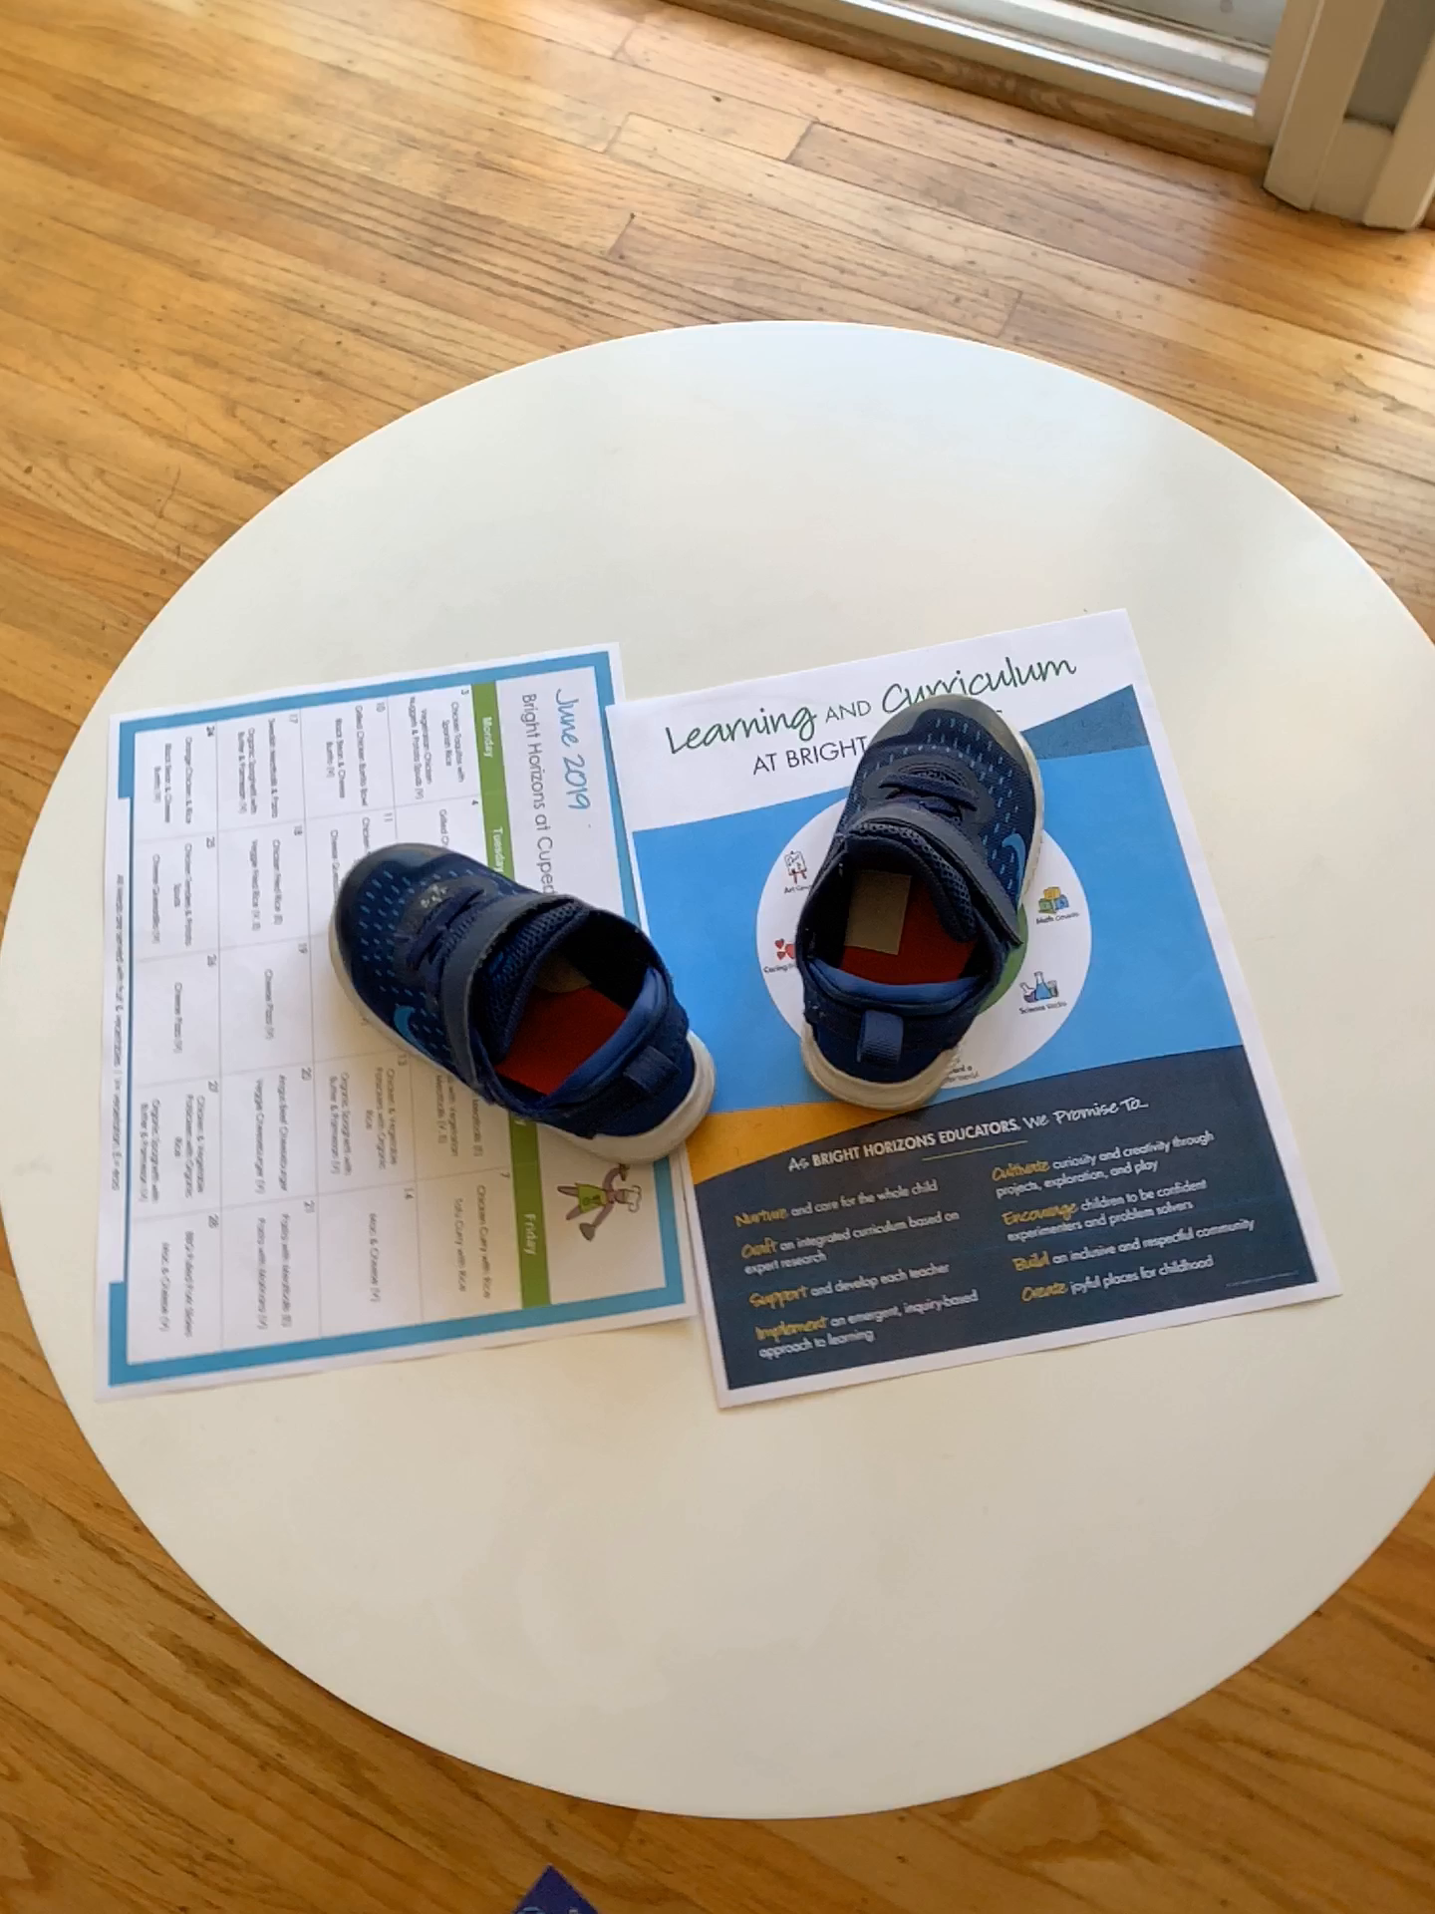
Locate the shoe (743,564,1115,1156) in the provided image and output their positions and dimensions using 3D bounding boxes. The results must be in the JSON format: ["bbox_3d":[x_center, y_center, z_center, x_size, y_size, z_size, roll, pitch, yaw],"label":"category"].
[{"bbox_3d":[0.076,-0.032,0.533,0.080,0.110,0.170,15,71,10],"label":"shoe"}]

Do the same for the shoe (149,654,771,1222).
[{"bbox_3d":[-0.078,-0.003,0.489,0.170,0.110,0.080,32,75,15],"label":"shoe"}]
